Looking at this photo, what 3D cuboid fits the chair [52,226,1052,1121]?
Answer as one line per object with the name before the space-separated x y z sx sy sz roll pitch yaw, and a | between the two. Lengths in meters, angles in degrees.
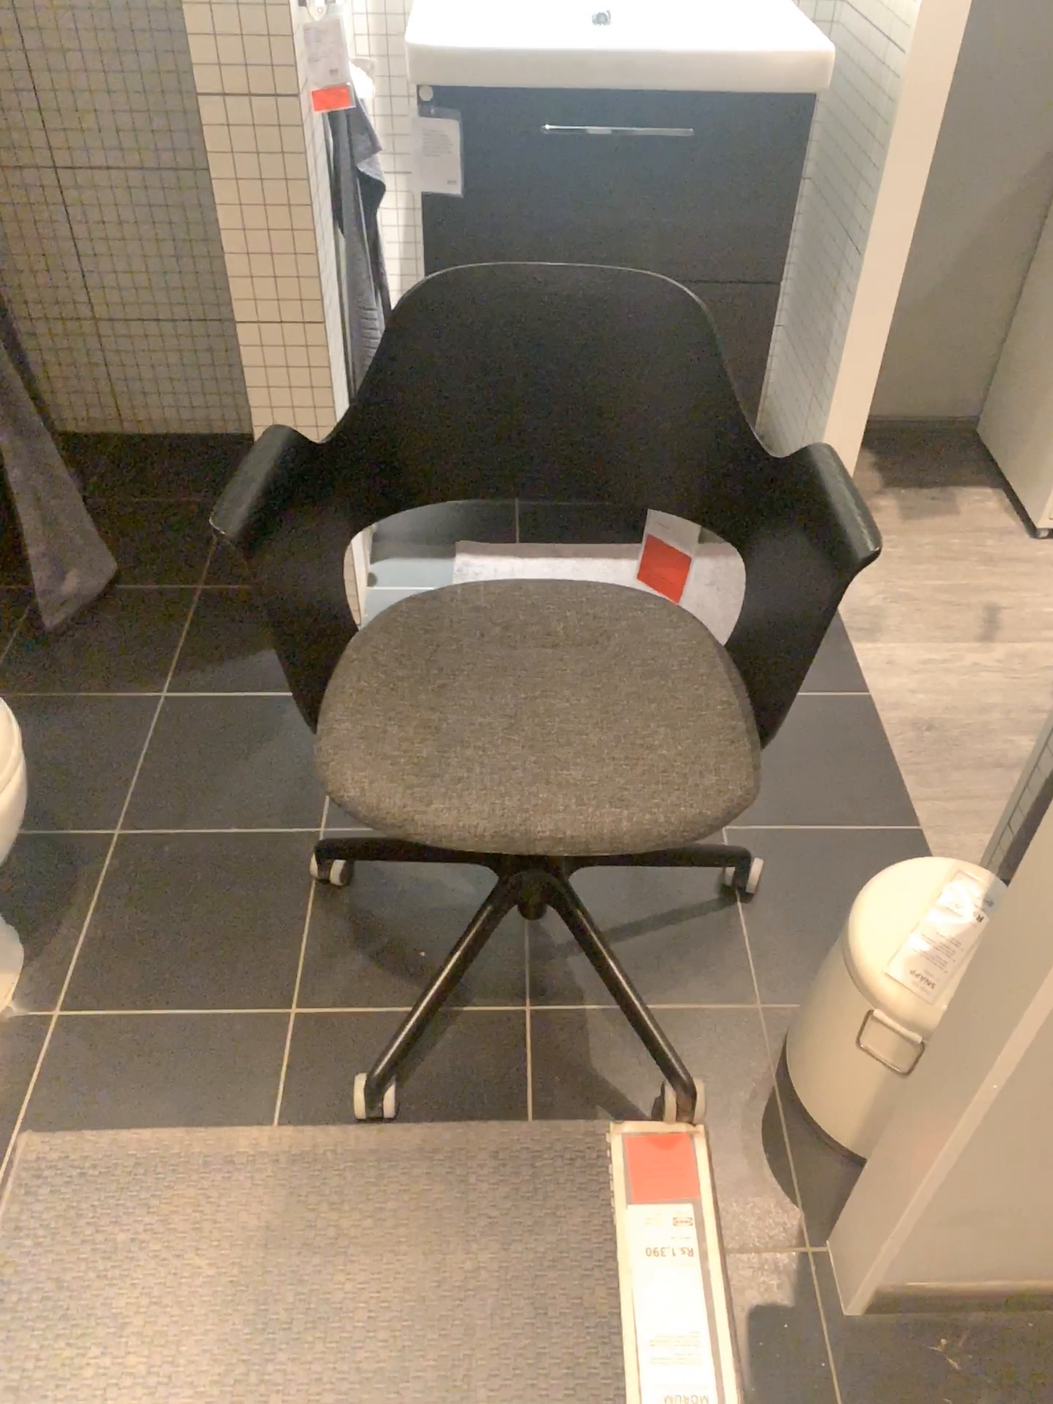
chair | 0.015 -0.018 1.147 0.640 0.737 0.602 0 42 -1
